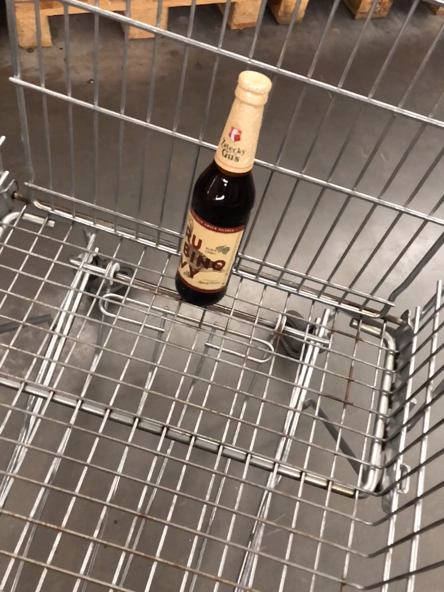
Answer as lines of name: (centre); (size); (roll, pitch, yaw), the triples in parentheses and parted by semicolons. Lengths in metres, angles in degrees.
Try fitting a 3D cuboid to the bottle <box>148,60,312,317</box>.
bottle: (-0.002, -0.099, 0.502); (0.080, 0.239, 0.080); (11, 44, -10)
